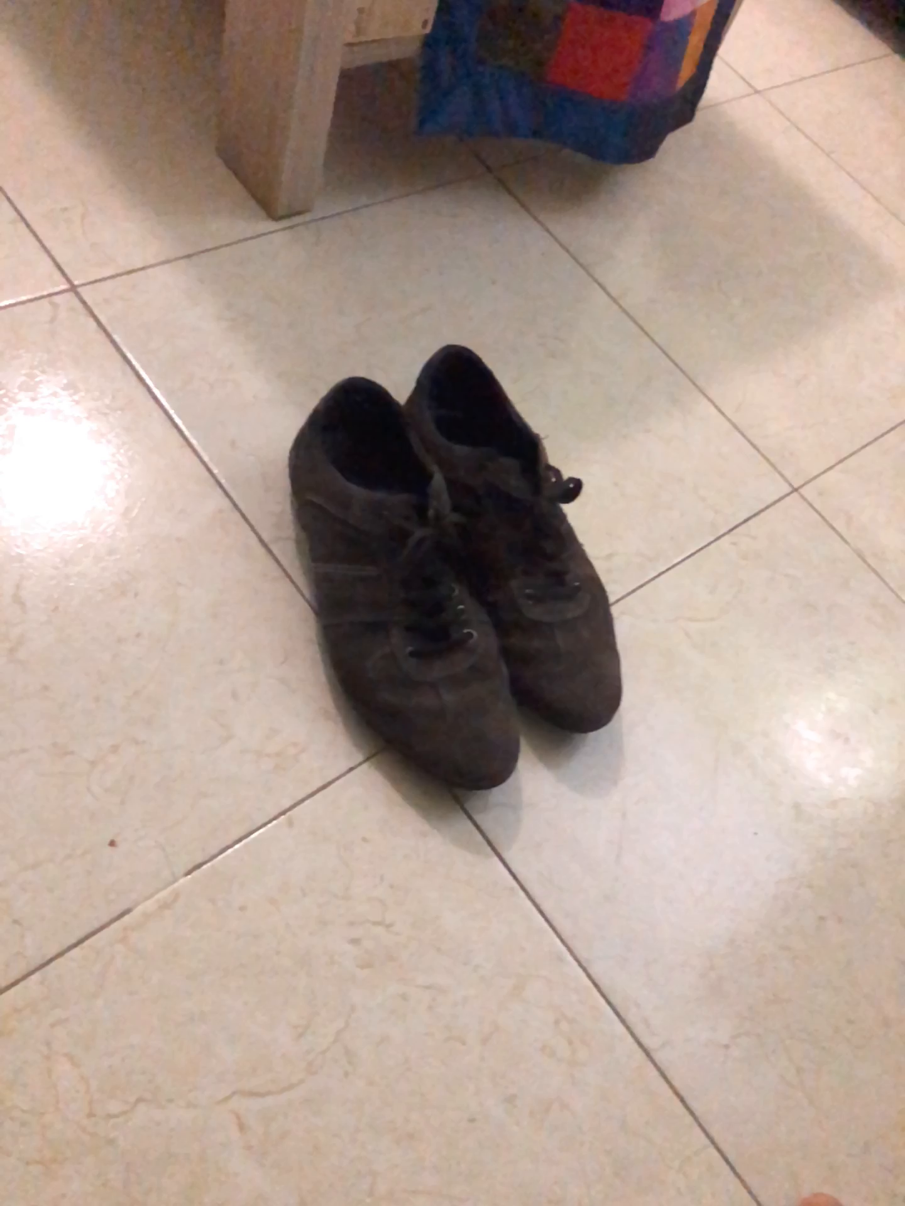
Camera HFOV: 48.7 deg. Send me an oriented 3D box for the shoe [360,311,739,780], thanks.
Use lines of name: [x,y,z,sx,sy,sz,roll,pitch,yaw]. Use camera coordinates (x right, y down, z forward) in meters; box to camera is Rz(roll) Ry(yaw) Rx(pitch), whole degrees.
shoe: [0.053,-0.048,0.696,0.110,0.110,0.300,-15,65,-25]

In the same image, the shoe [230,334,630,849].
shoe: [-0.030,-0.017,0.645,0.120,0.110,0.300,-16,66,-26]
